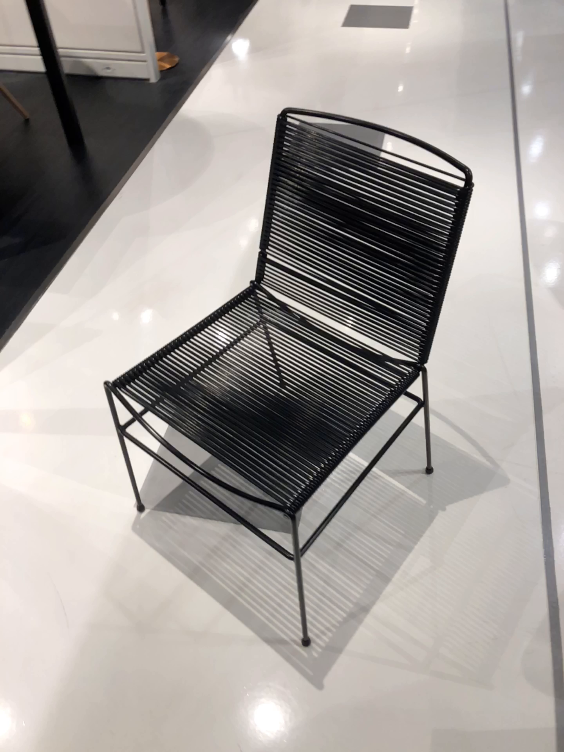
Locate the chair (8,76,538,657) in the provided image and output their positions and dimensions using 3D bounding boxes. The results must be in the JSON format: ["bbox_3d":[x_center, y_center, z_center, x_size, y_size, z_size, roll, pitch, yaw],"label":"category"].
[{"bbox_3d":[0.016,-0.010,1.187,0.522,0.794,0.582,30,55,27],"label":"chair"}]
